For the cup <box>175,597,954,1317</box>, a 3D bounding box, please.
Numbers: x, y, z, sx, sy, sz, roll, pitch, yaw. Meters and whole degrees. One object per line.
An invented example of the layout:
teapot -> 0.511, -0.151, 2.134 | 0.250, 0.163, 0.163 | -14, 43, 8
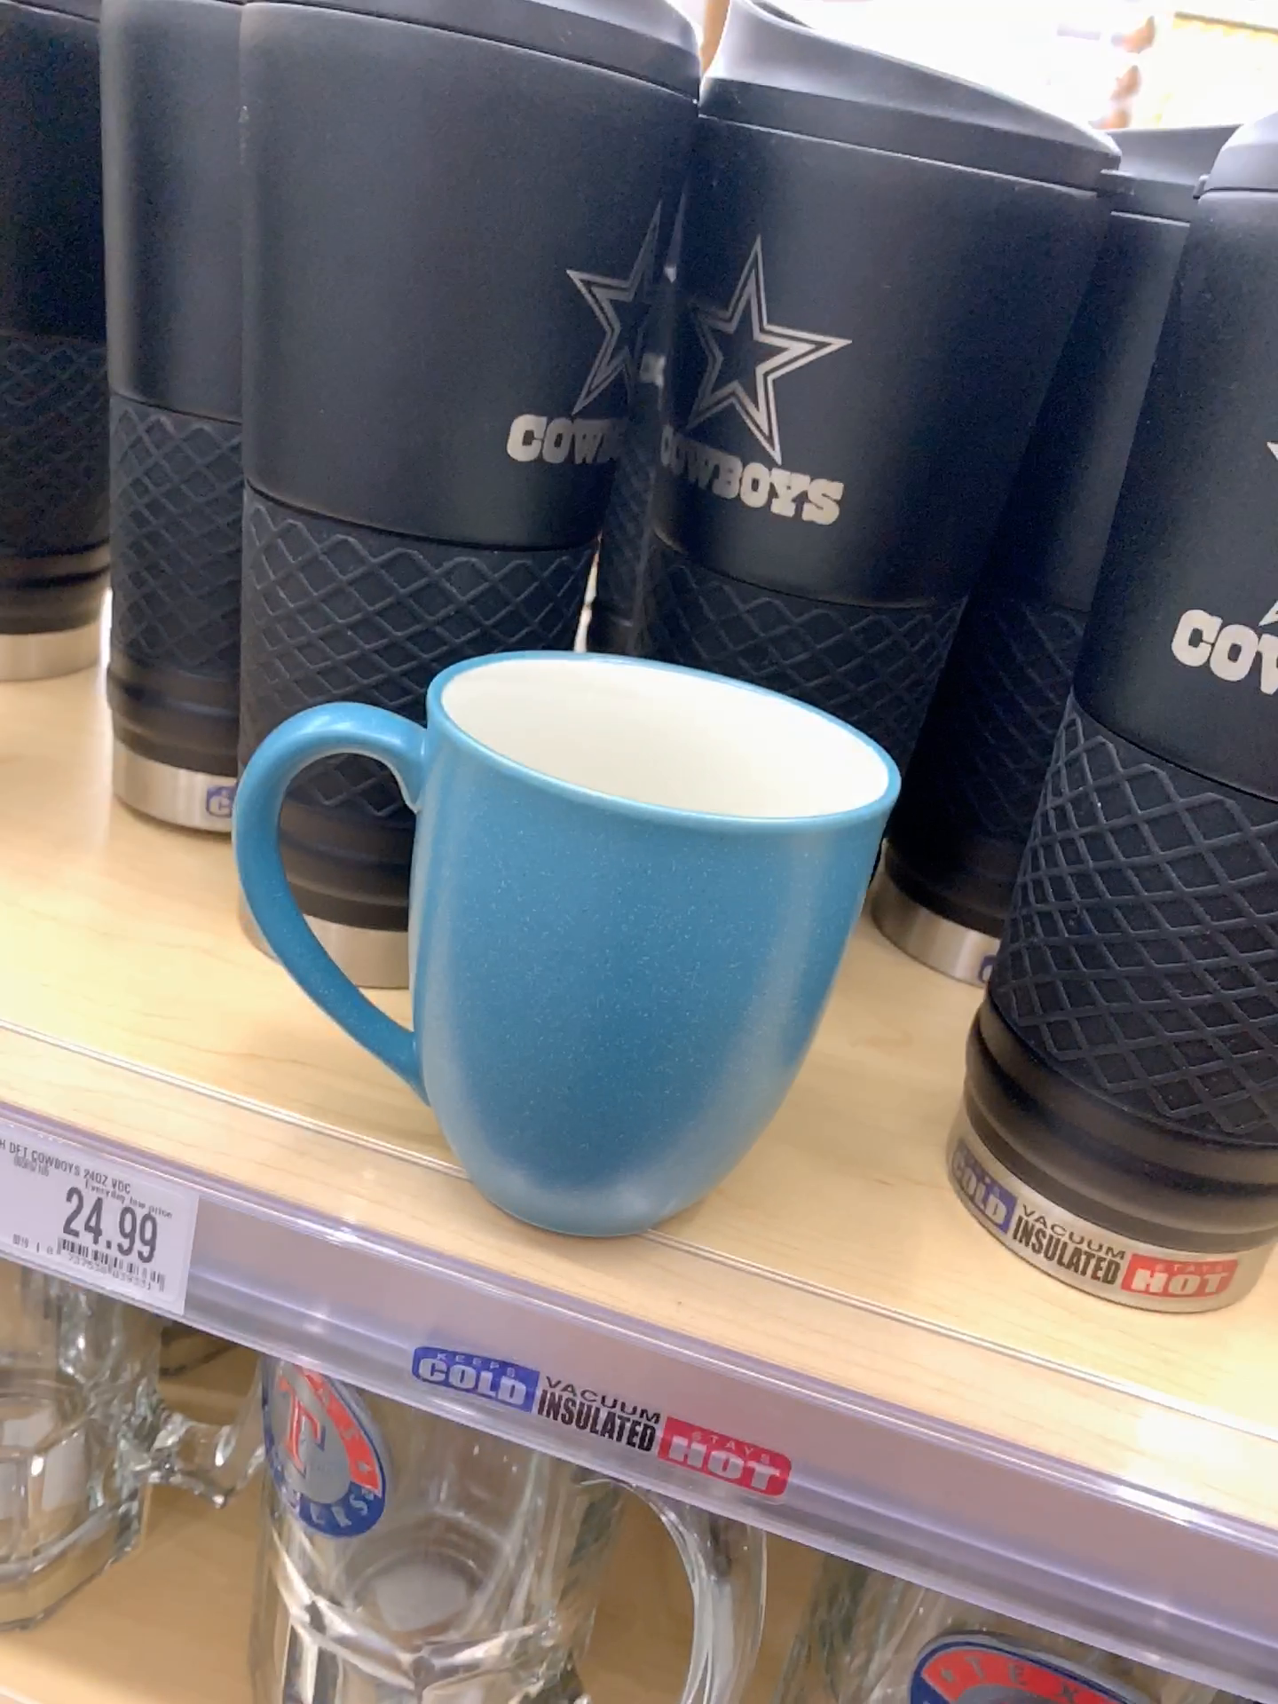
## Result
cup -> -0.012, 0.013, 0.256 | 0.116, 0.084, 0.090 | 12, 24, 2
